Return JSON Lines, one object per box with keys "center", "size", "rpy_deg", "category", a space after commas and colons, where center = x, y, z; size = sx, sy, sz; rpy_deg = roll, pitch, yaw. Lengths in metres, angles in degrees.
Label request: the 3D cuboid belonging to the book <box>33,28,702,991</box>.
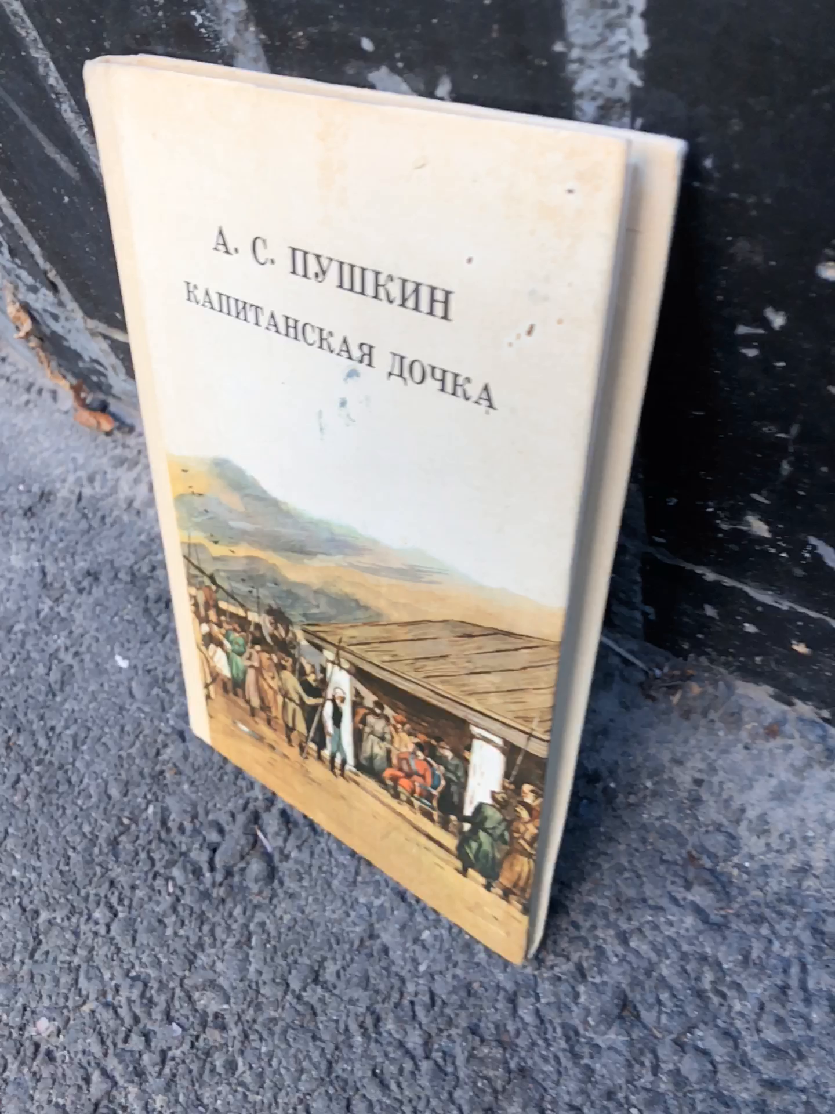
{"center": [-0.023, -0.002, 0.234], "size": [0.145, 0.215, 0.023], "rpy_deg": [26, 42, 30], "category": "book"}
